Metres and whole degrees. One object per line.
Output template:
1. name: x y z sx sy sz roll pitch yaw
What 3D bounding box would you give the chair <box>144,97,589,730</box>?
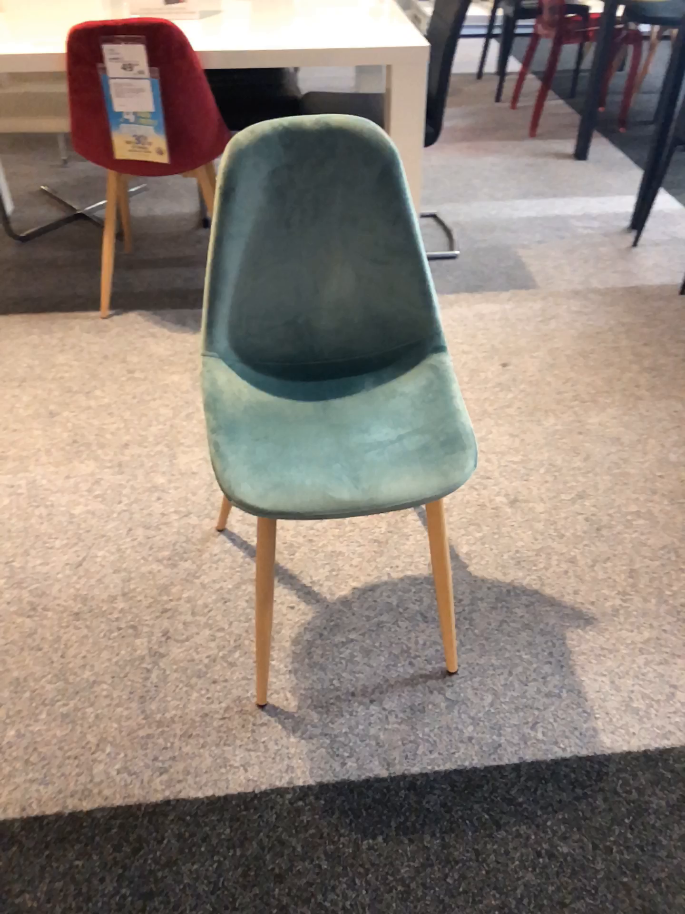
1. chair: -0.016 -0.065 1.247 0.470 0.835 0.553 -7 40 -9
